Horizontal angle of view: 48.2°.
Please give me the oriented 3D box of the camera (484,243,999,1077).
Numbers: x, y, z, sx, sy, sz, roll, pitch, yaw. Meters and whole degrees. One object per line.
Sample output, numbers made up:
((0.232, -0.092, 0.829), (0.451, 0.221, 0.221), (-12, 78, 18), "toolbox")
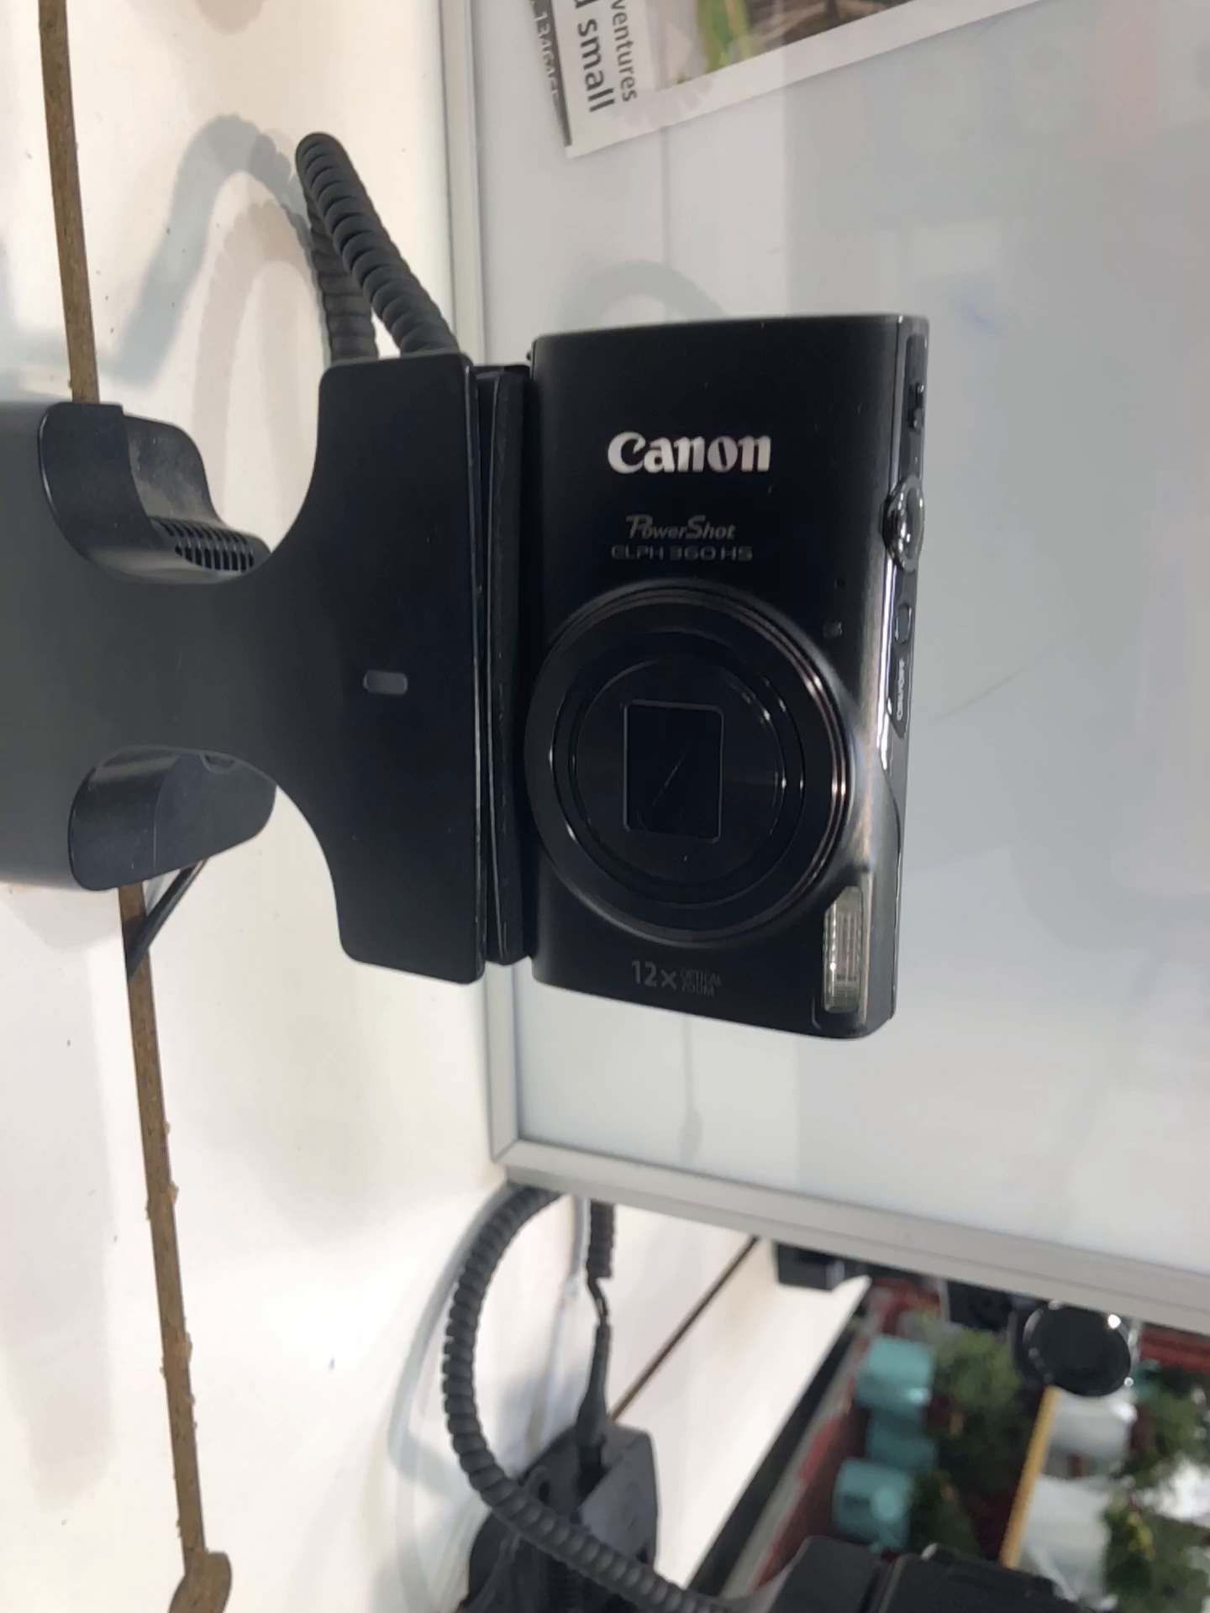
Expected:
((0.020, -0.021, 0.208), (0.030, 0.070, 0.110), (-16, 108, -62), "camera")
